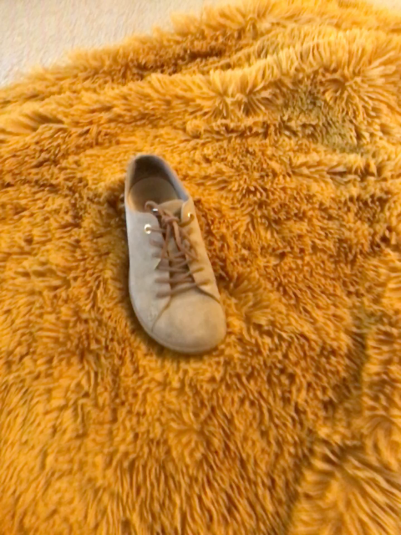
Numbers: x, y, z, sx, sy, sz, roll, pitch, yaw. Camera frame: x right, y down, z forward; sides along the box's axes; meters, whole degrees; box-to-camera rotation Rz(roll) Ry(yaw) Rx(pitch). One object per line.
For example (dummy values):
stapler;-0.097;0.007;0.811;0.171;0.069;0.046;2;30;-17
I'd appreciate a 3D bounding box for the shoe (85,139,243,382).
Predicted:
shoe;-0.049;-0.021;0.476;0.100;0.070;0.259;-14;57;-10
